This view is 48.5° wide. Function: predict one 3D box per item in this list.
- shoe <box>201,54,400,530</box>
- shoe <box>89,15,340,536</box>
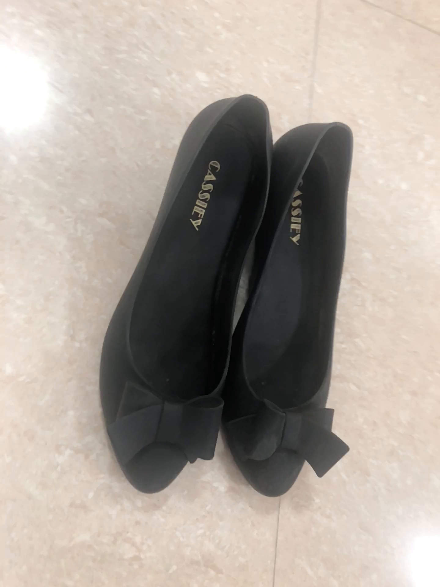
[{"bbox_3d":[0.061,-0.002,0.368,0.090,0.090,0.310,10,79,-19],"label":"shoe"},{"bbox_3d":[-0.003,-0.015,0.340,0.090,0.090,0.310,15,77,-17],"label":"shoe"}]
